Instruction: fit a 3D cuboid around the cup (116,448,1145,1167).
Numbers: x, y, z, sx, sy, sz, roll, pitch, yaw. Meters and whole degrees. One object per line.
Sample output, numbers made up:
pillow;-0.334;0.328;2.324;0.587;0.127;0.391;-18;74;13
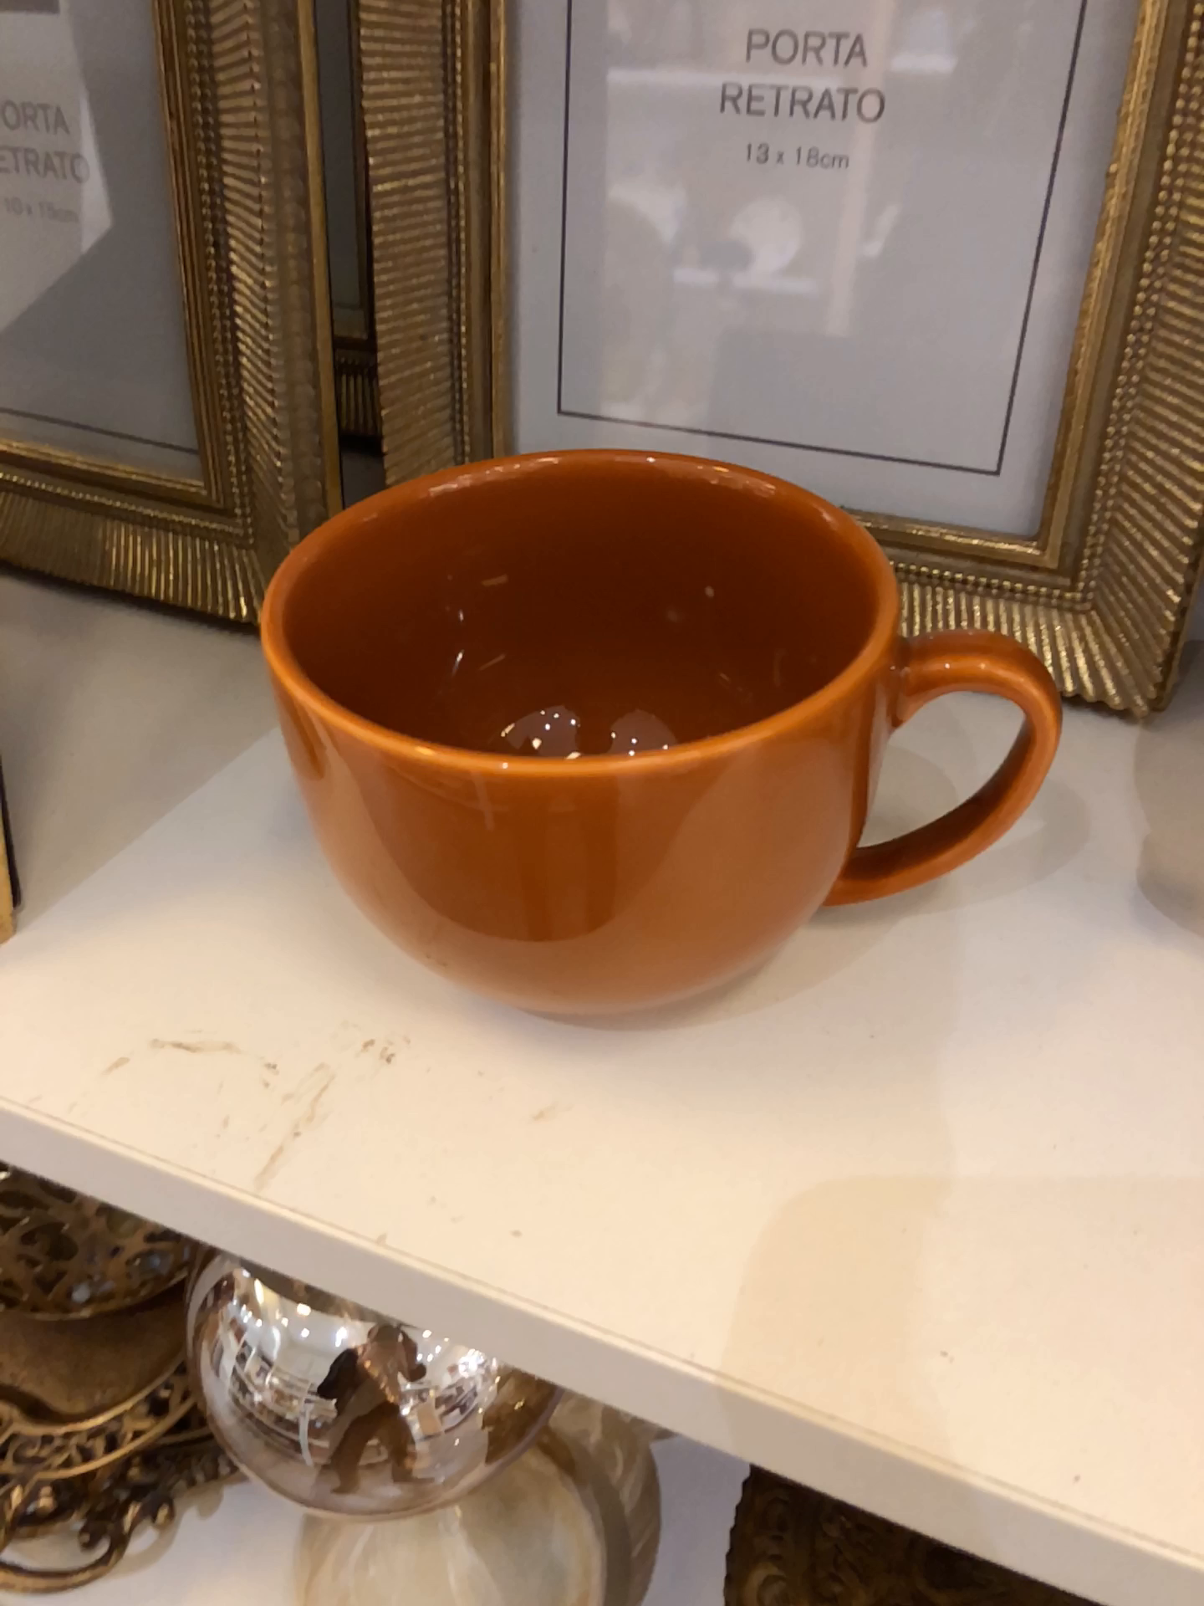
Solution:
cup;0.008;-0.006;0.208;0.120;0.060;0.091;4;40;9
